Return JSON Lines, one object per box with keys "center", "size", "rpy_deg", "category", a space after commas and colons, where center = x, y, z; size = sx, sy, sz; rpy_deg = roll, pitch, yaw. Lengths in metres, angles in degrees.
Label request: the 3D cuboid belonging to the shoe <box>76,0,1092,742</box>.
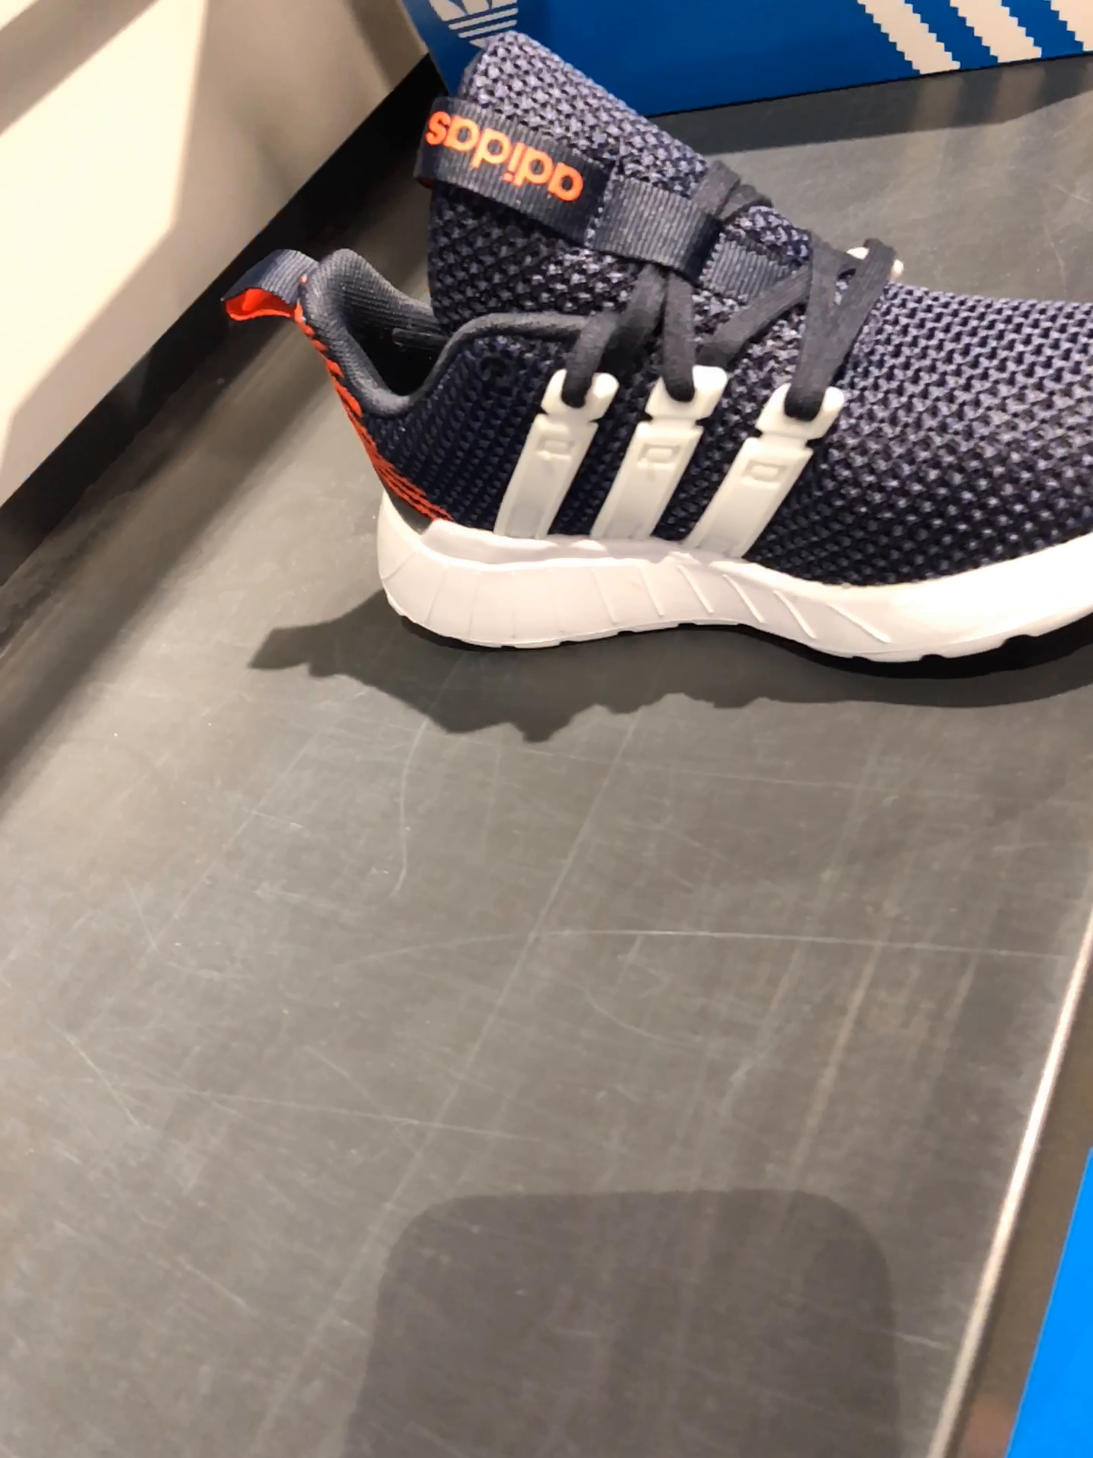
{"center": [0.024, -0.077, 0.252], "size": [0.201, 0.110, 0.090], "rpy_deg": [7, 55, 37], "category": "shoe"}
